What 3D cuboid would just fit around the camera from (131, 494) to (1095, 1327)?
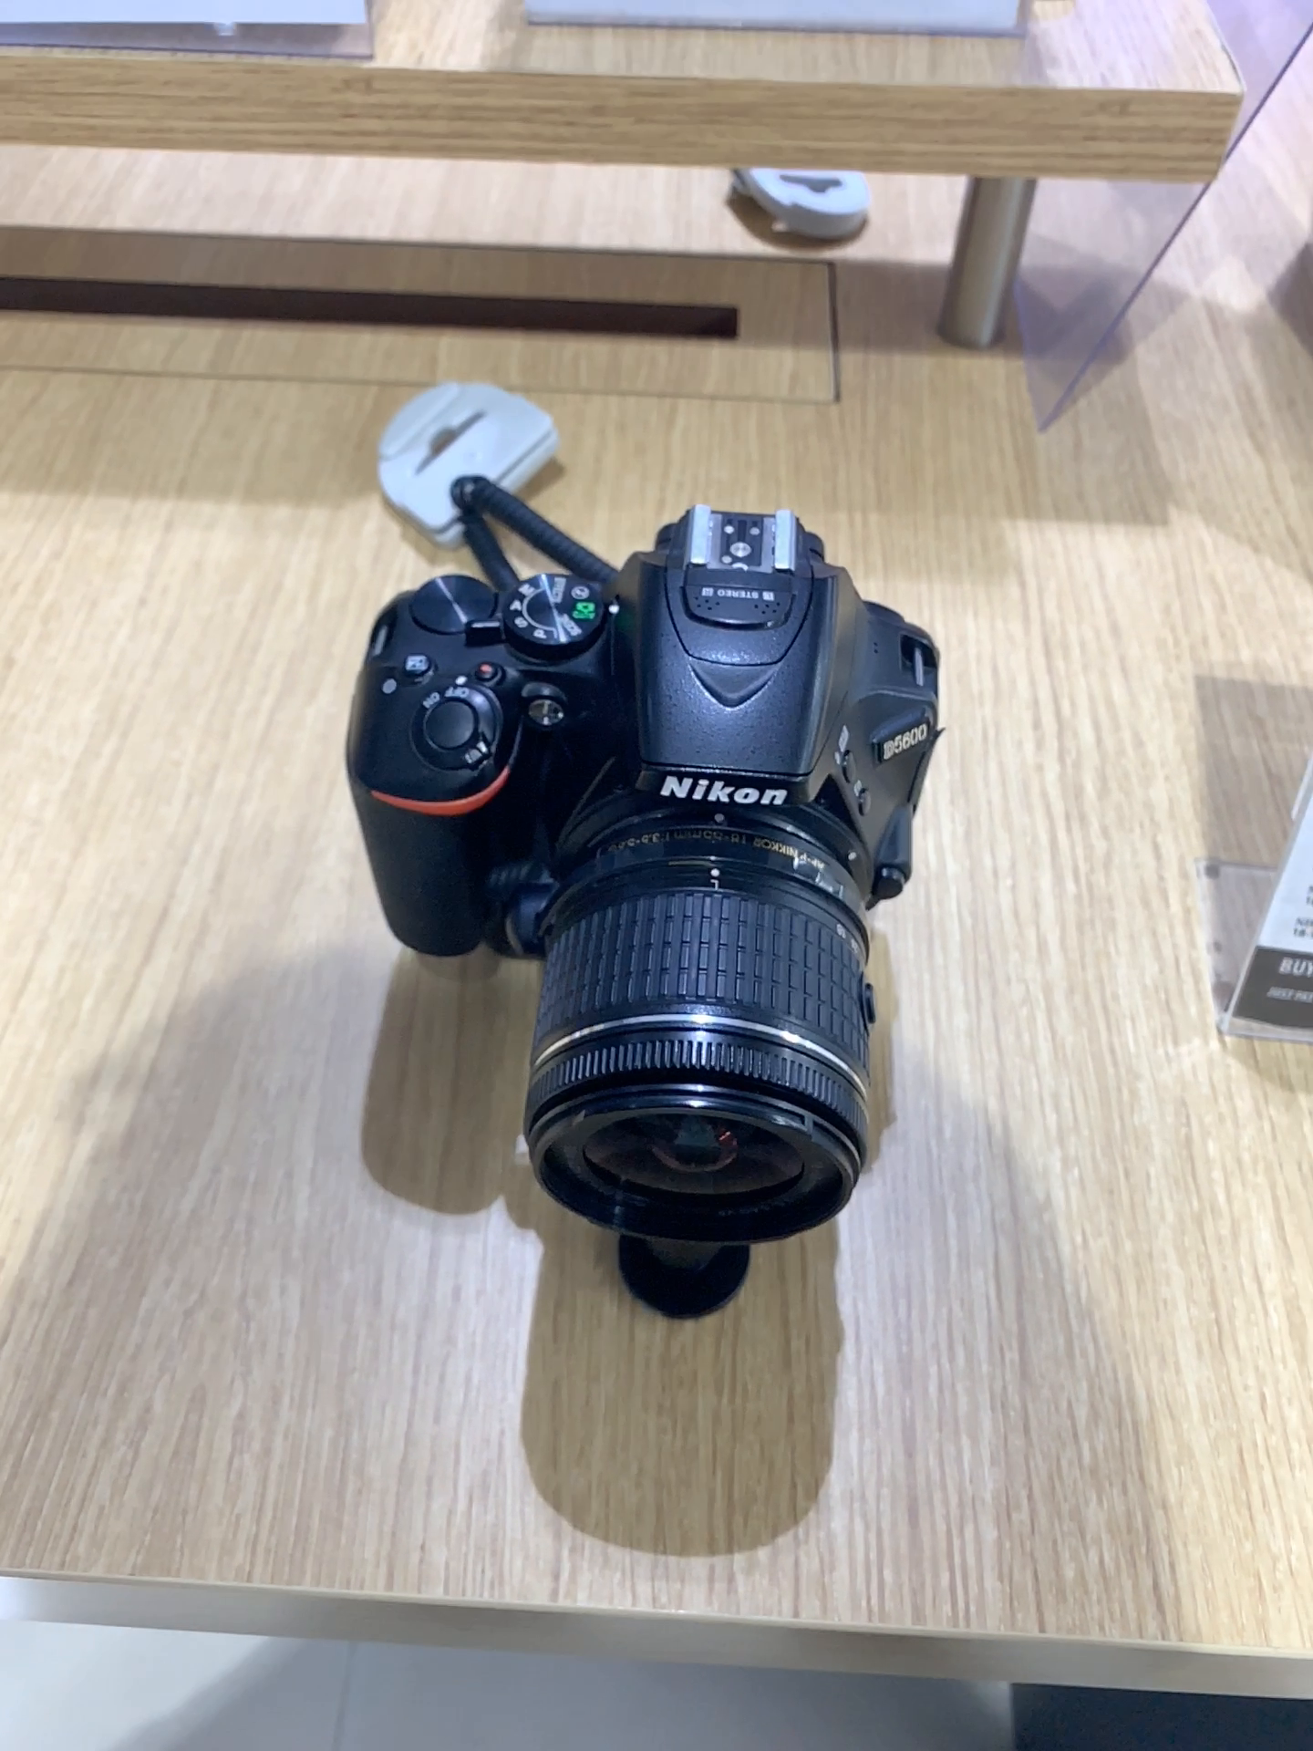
[{"bbox_3d":[-0.004,0.005,0.241,0.124,0.080,0.114,4,52,1],"label":"camera"}]
